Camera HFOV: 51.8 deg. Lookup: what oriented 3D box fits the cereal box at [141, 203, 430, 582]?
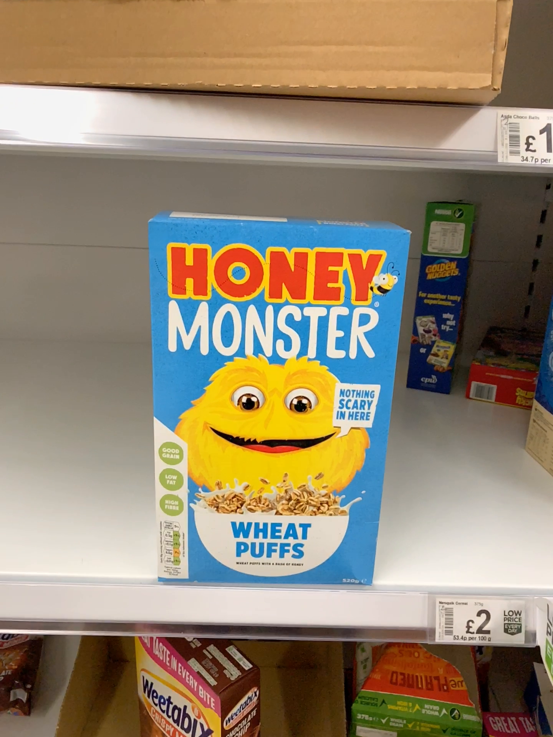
[{"bbox_3d":[0.000,0.021,0.480,0.200,0.298,0.091,2,17,-1],"label":"cereal box"}]
